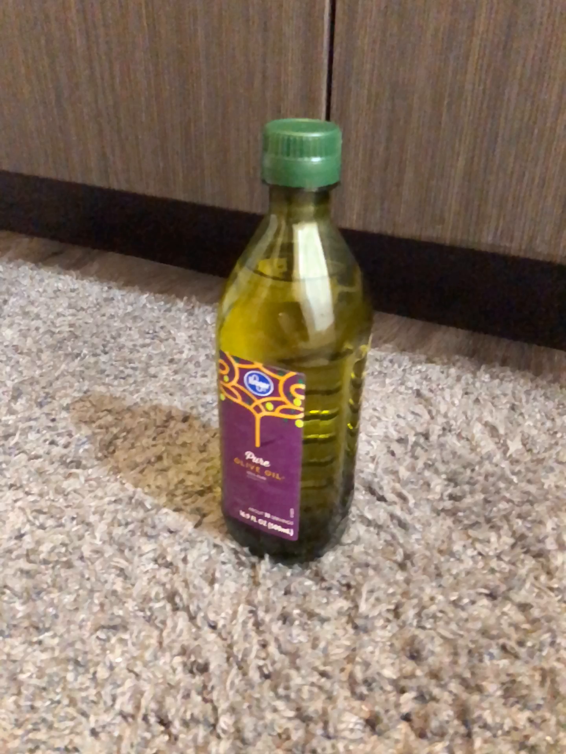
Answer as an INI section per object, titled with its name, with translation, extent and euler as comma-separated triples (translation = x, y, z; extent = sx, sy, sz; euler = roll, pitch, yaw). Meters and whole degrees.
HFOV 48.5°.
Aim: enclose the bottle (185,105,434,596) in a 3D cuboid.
[bottle]
translation = 0.010, -0.004, 0.288
extent = 0.070, 0.209, 0.060
euler = 21, 39, 27
